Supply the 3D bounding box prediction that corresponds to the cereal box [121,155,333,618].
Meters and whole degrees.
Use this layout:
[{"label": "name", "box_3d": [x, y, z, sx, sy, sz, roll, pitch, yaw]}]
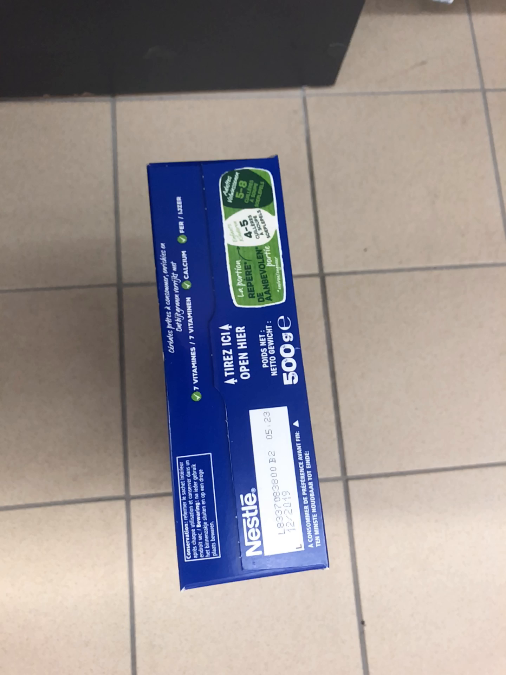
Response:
[{"label": "cereal box", "box_3d": [-0.028, 0.039, 0.381, 0.070, 0.290, 0.190, -6, 80, -7]}]
